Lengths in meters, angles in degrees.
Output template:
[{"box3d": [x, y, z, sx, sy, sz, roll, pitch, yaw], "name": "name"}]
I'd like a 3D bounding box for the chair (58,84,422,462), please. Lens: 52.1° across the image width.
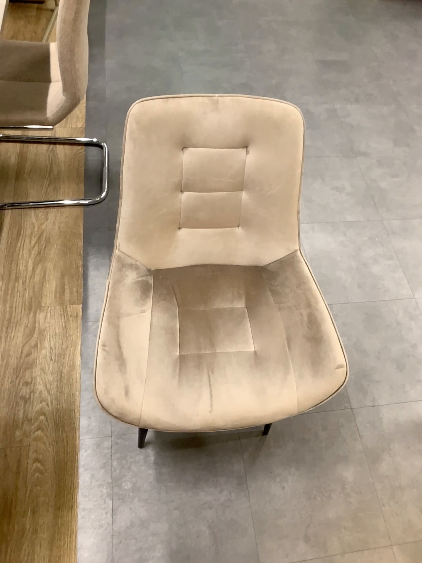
[{"box3d": [0.001, 0.053, 1.132, 0.567, 0.819, 0.612, -2, 59, -8], "name": "chair"}]
